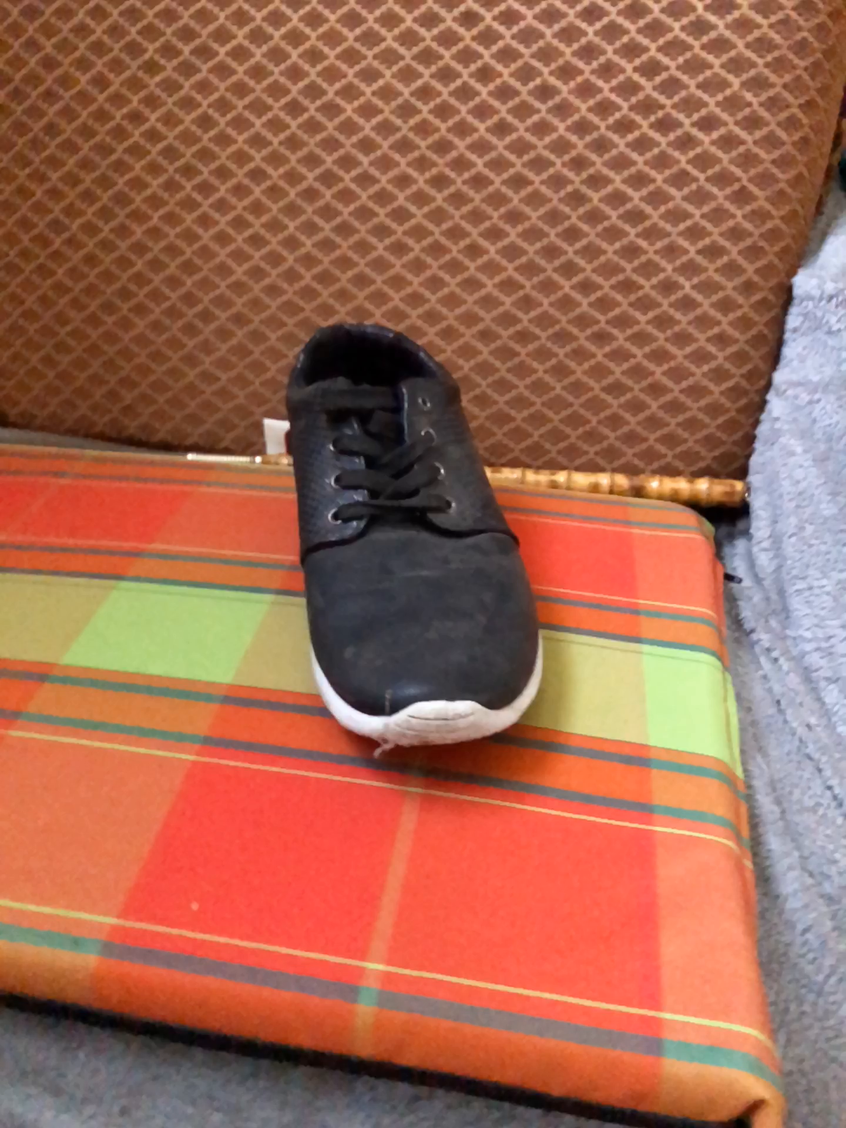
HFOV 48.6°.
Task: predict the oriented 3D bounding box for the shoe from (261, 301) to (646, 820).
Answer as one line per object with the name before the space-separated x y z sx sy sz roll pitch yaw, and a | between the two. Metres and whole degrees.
shoe | -0.006 -0.027 0.415 0.110 0.080 0.268 -8 35 -7
